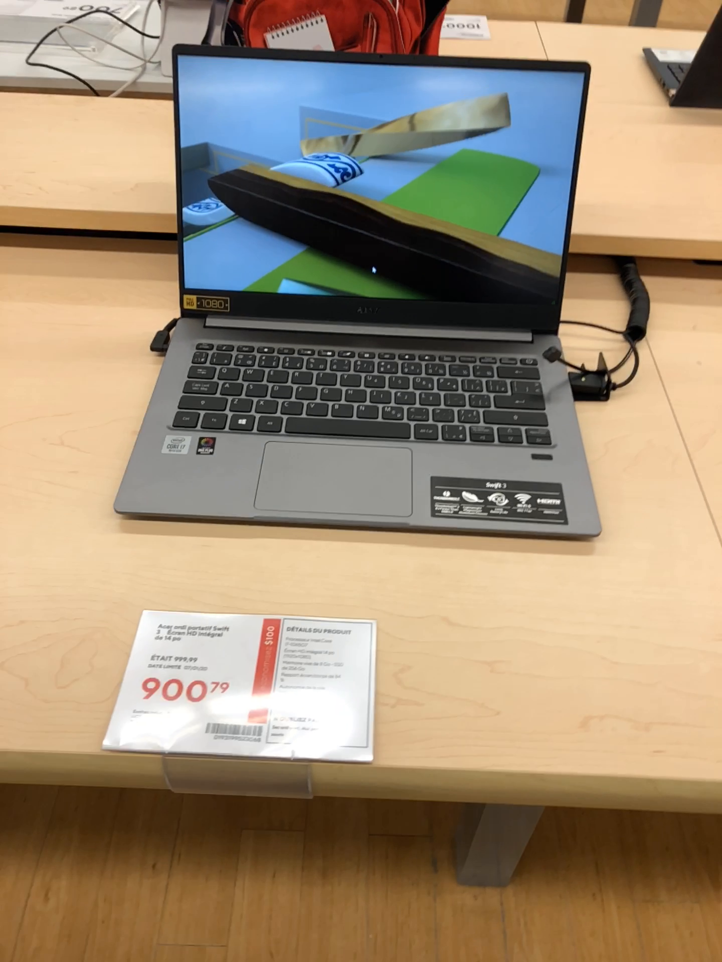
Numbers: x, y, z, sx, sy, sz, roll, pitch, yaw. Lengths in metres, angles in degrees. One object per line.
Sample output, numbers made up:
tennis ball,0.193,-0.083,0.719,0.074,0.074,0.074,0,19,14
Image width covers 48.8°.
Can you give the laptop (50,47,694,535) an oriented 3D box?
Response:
laptop,0.008,-0.147,0.559,0.315,0.177,0.313,3,46,0
